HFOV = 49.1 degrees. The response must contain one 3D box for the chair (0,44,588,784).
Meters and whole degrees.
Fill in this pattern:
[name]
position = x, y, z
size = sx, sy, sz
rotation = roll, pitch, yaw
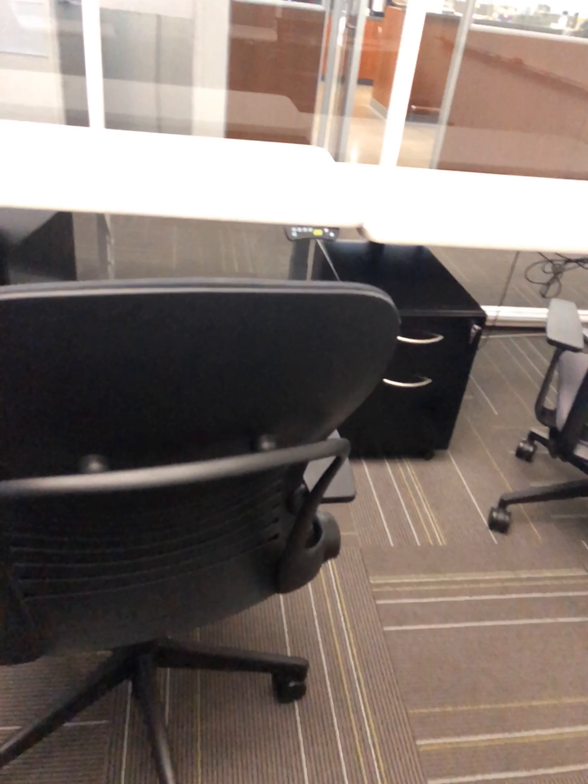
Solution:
[chair]
position = -0.272, 0.109, 1.027
size = 0.730, 1.034, 0.834
rotation = -6, 35, -20
